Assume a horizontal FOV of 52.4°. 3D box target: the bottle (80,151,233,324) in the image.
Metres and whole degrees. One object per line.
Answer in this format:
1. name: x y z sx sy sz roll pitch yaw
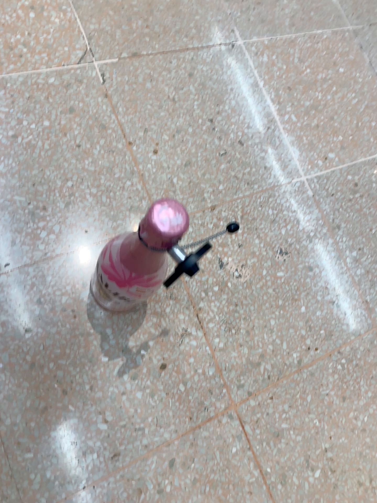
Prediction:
1. bottle: -0.058 0.012 0.421 0.080 0.288 0.080 4 74 -16
